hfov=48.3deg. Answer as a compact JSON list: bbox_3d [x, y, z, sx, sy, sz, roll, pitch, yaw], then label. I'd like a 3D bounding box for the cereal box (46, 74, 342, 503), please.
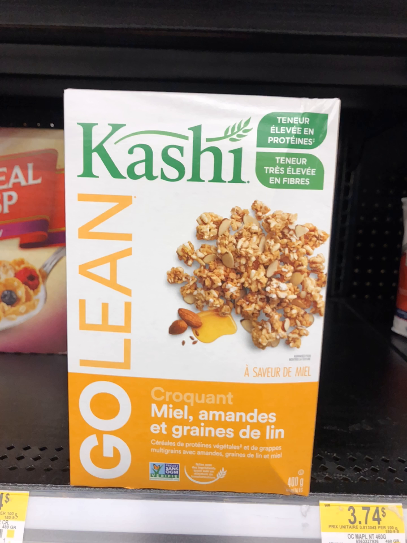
[{"bbox_3d":[-0.010,0.016,0.310,0.170,0.269,0.050,2,11,1],"label":"cereal box"}]
